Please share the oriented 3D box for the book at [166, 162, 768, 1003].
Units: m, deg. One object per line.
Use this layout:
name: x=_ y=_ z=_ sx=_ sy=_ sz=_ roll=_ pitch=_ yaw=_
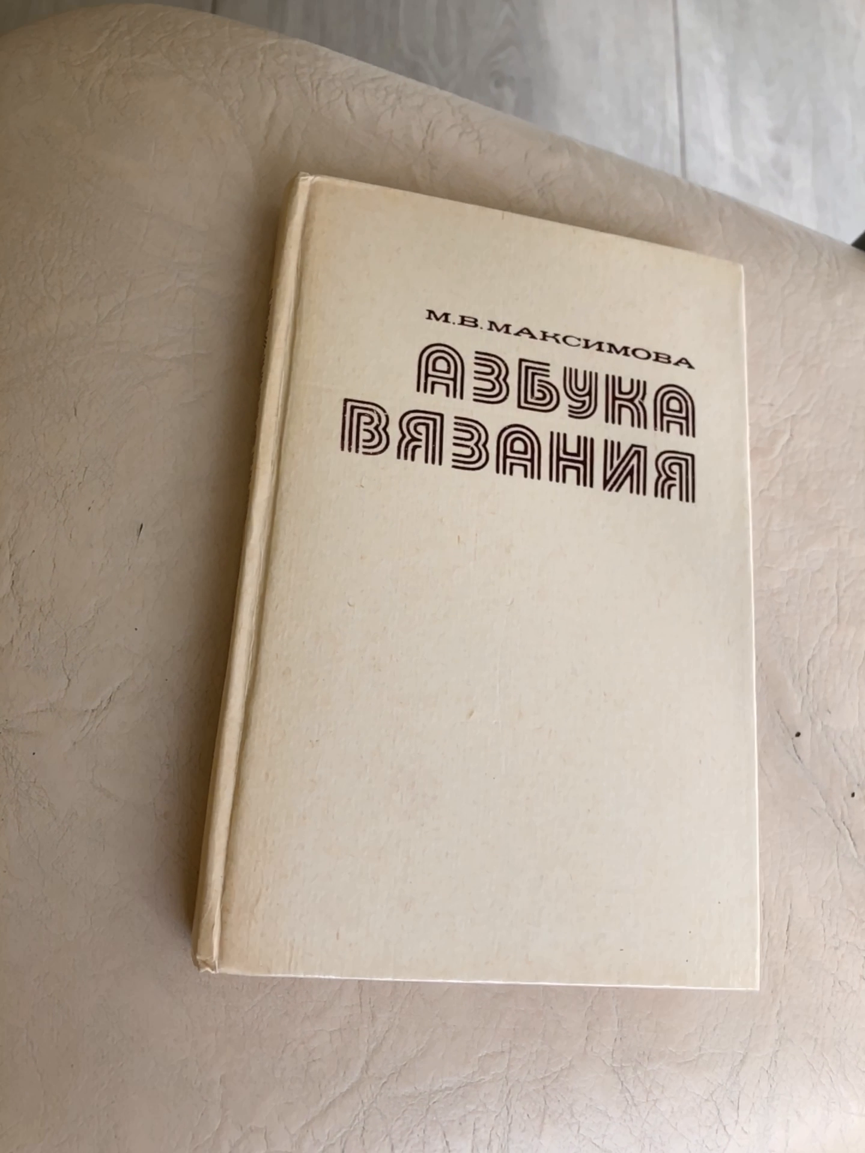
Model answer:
book: x=0.018 y=-0.003 z=0.271 sx=0.148 sy=0.024 sz=0.218 roll=8 pitch=74 yaw=-11
